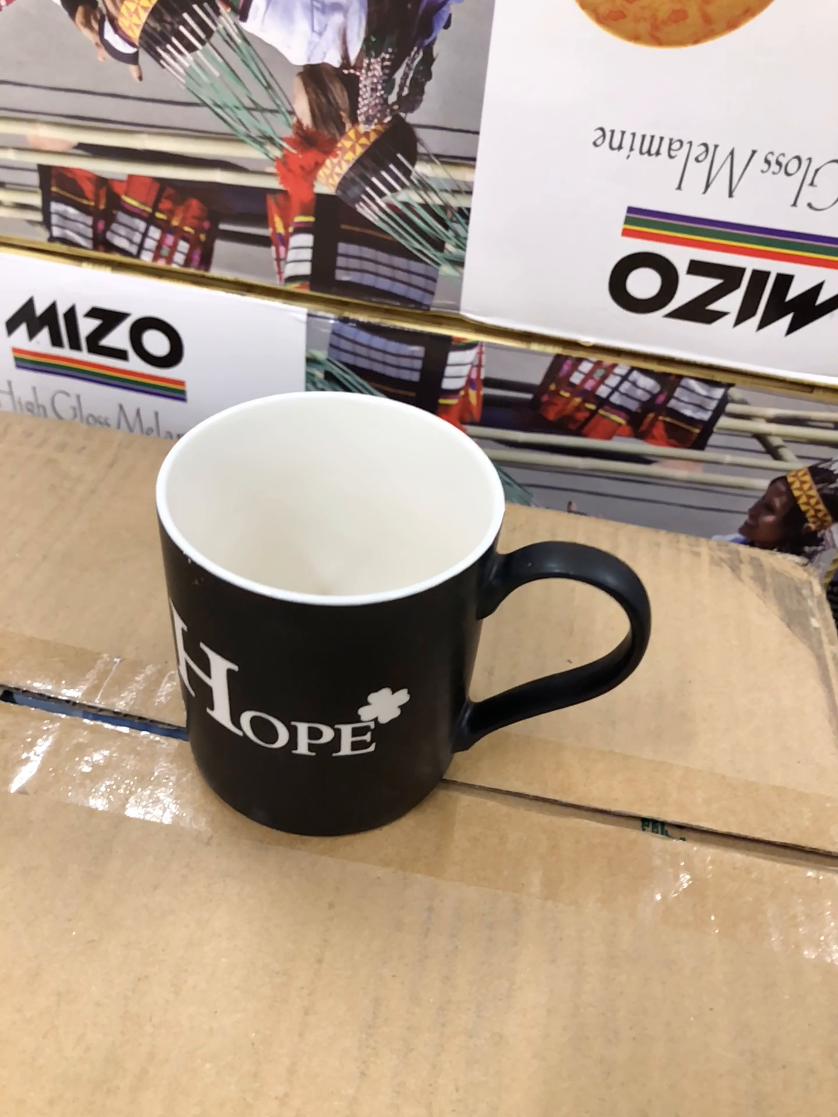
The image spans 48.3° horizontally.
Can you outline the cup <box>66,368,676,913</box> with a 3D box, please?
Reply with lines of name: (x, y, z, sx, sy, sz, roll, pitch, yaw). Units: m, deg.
cup: (-0.009, 0.020, 0.245, 0.120, 0.089, 0.091, 8, 41, 1)
